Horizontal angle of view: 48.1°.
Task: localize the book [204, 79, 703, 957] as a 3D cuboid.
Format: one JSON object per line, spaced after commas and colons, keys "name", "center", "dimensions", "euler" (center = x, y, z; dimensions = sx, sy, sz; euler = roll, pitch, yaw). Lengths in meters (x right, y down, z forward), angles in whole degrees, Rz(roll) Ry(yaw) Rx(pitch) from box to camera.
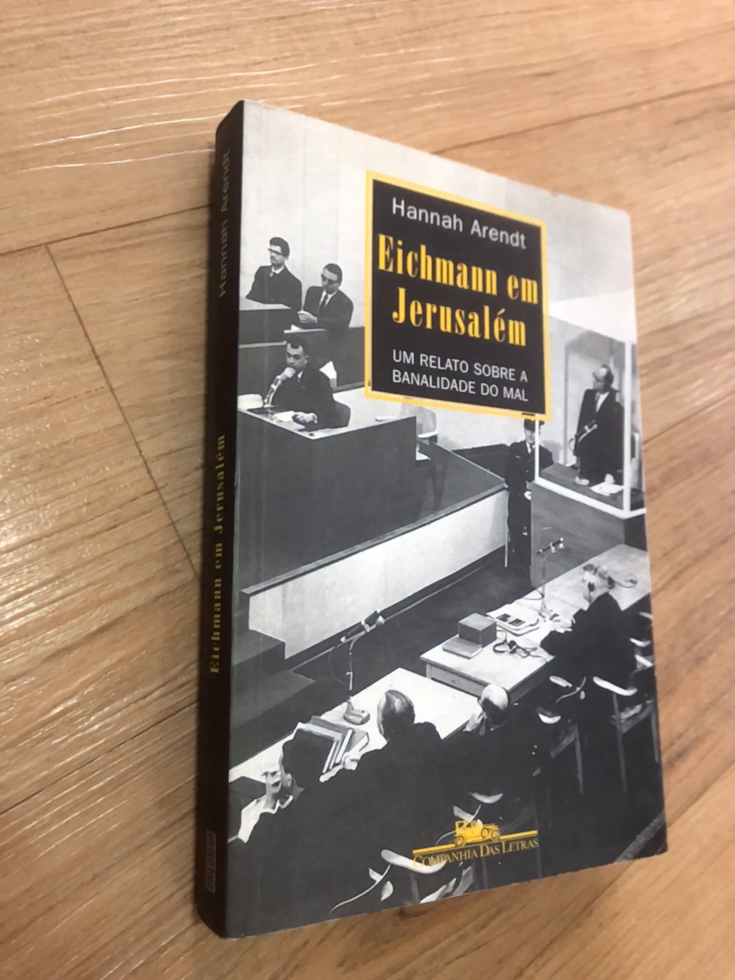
{"name": "book", "center": [0.029, 0.004, 0.233], "dimensions": [0.145, 0.023, 0.202], "euler": [4, 80, -29]}
